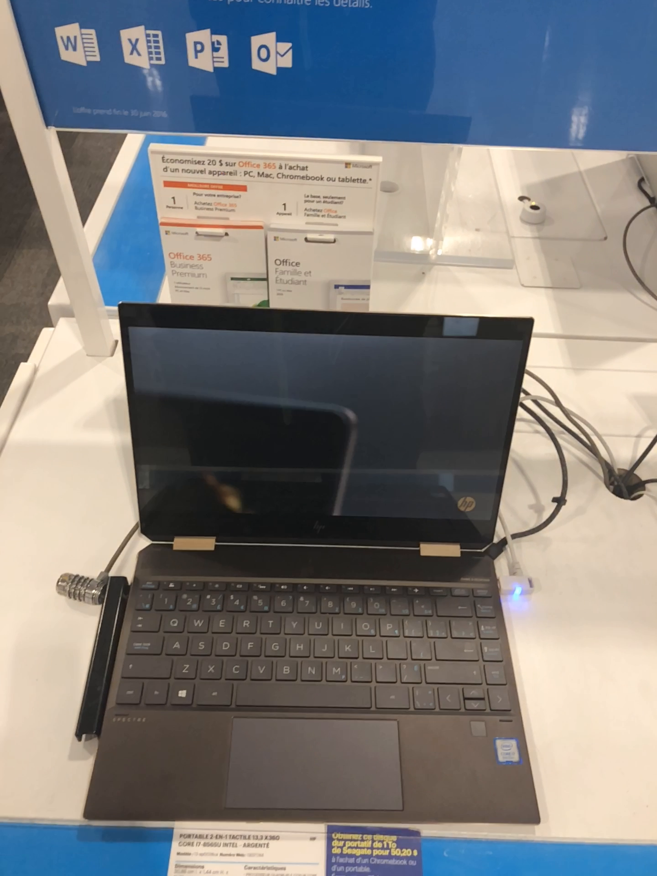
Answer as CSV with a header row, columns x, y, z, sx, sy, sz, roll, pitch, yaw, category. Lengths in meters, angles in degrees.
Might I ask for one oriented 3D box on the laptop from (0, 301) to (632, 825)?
x,y,z,sx,sy,sz,roll,pitch,yaw,category
-0.009,0.080,0.504,0.297,0.197,0.285,2,47,-2,laptop
